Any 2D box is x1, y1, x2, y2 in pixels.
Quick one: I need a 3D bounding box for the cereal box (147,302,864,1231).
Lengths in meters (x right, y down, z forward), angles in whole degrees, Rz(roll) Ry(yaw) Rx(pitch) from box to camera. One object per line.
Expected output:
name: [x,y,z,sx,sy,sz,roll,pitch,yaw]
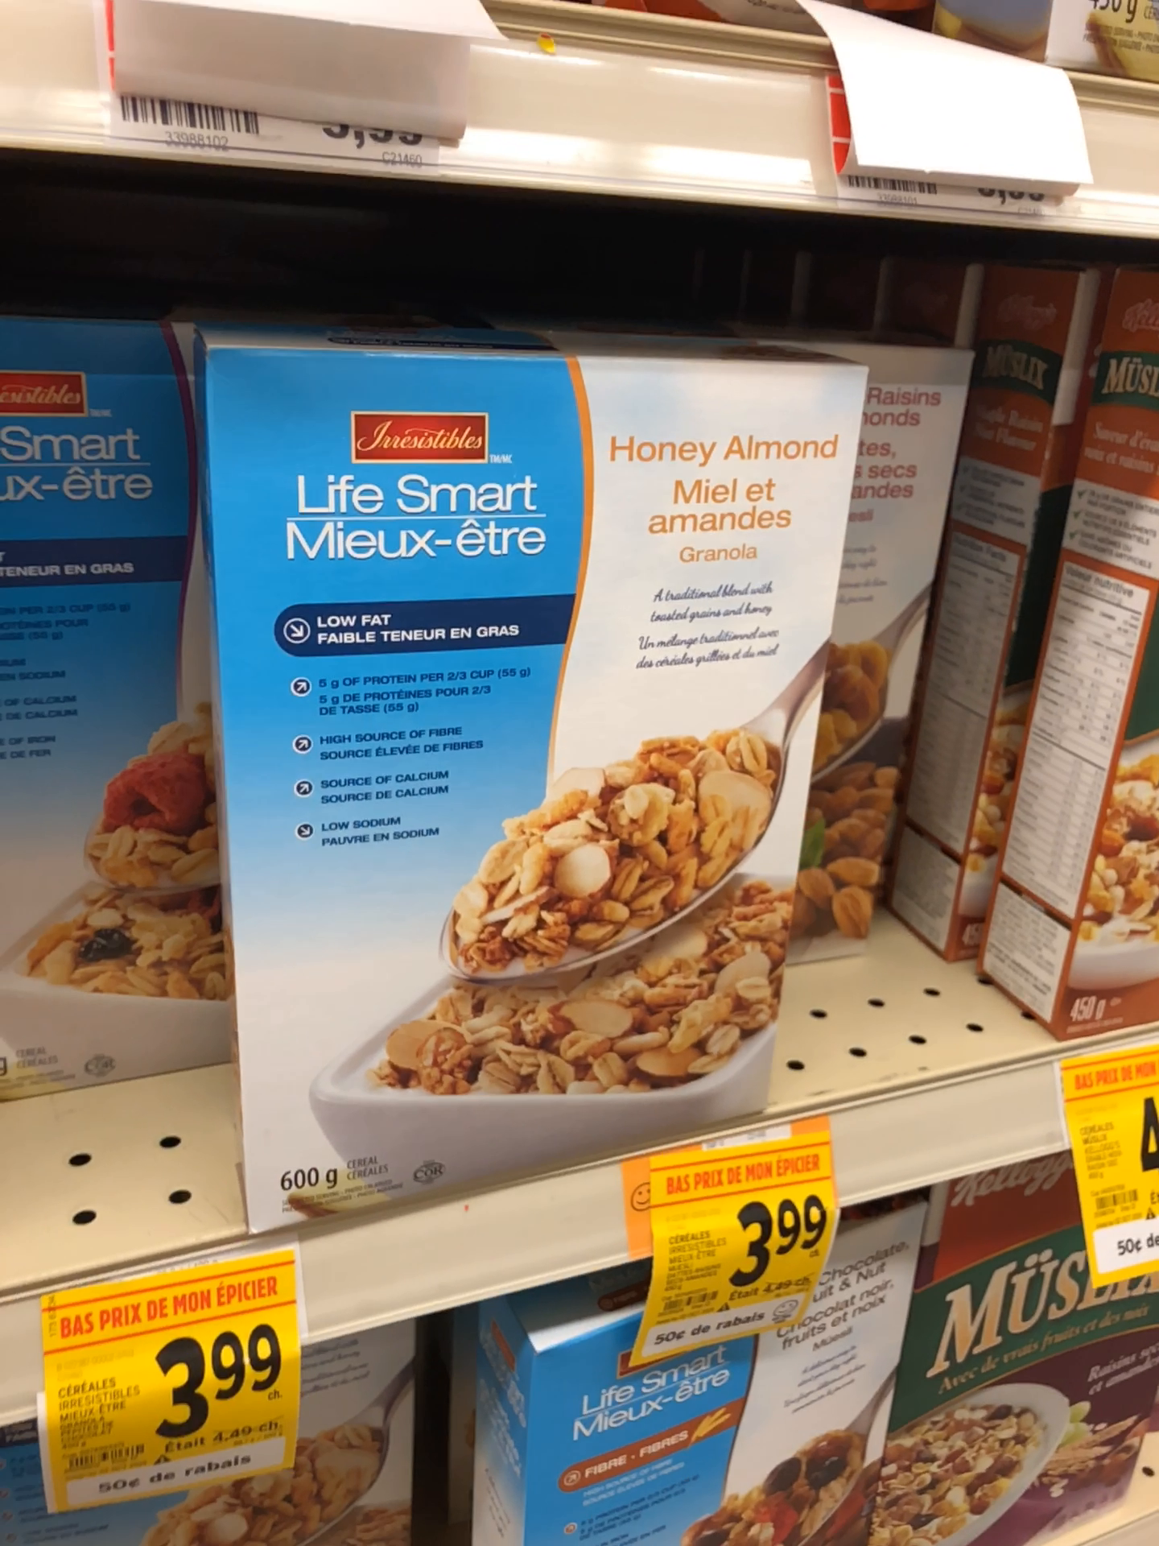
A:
cereal box: [-0.025,-0.003,0.370,0.170,0.238,0.060,-6,25,-22]
